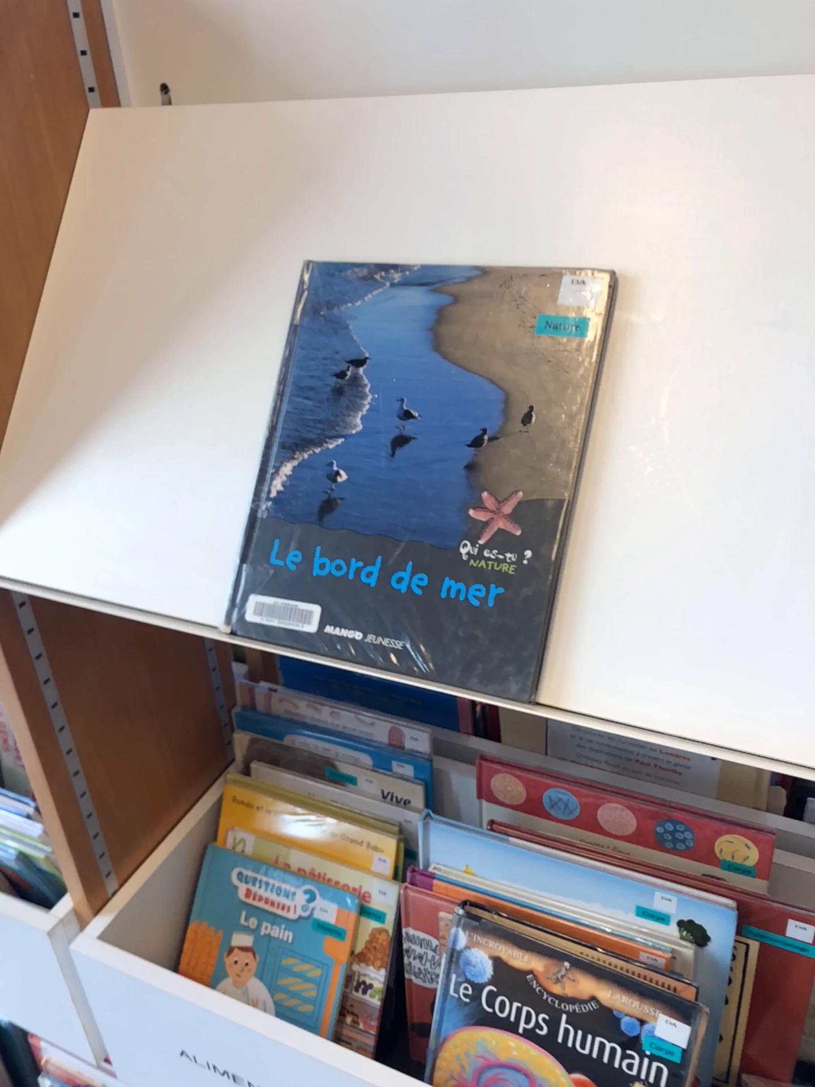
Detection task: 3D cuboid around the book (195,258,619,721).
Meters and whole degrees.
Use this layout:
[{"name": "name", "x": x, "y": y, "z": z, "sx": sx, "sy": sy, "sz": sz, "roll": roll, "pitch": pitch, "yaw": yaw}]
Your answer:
[{"name": "book", "x": -0.005, "y": -0.043, "z": 0.522, "sx": 0.208, "sy": 0.245, "sz": 0.020, "roll": 10, "pitch": -6, "yaw": 25}]
